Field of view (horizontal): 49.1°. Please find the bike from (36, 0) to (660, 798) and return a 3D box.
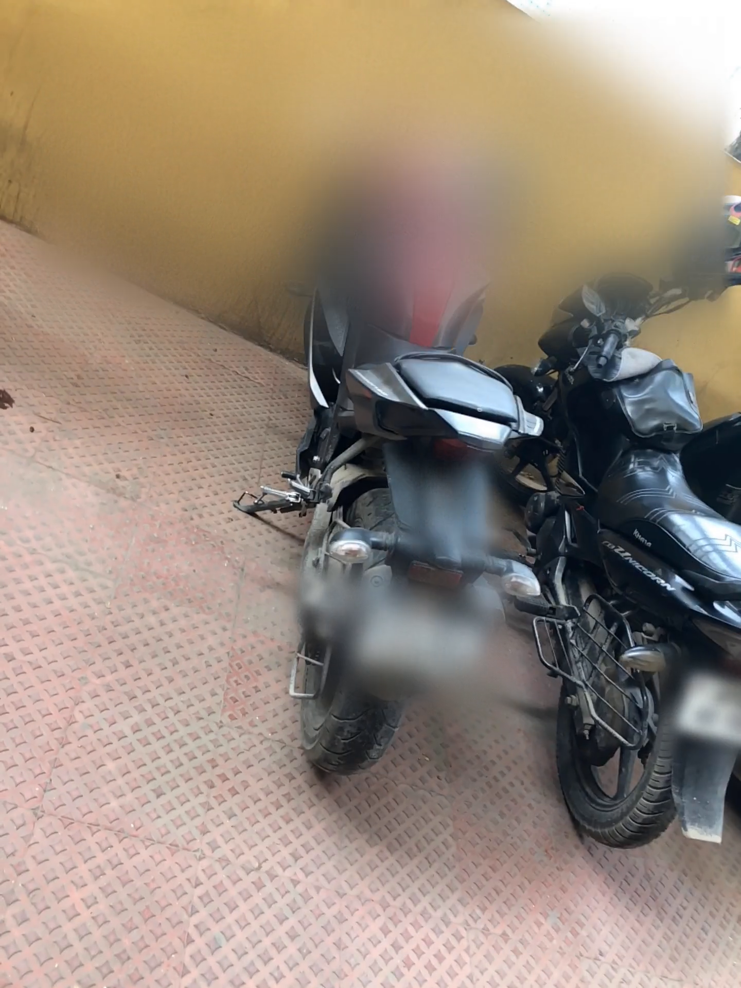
[{"bbox_3d":[-0.173,-0.418,2.010,0.726,0.870,1.751,20,36,-23],"label":"bike"}]
